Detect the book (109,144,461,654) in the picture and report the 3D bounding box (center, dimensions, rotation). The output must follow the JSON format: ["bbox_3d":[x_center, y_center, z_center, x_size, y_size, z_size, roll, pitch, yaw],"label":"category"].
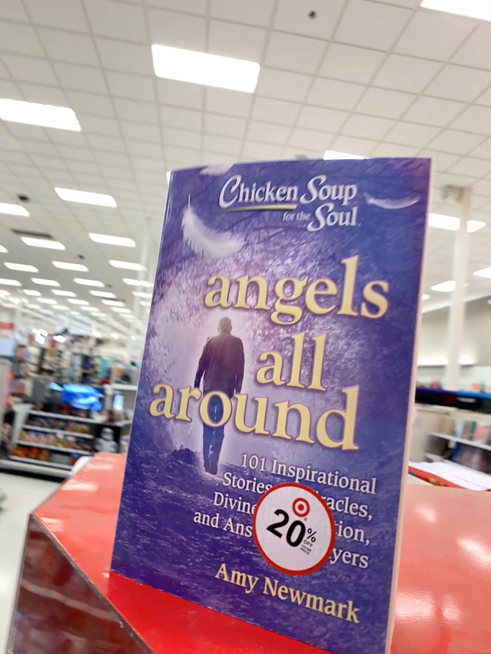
[{"bbox_3d":[0.020,0.025,0.250,0.142,0.211,0.041,4,-10,27],"label":"book"}]
